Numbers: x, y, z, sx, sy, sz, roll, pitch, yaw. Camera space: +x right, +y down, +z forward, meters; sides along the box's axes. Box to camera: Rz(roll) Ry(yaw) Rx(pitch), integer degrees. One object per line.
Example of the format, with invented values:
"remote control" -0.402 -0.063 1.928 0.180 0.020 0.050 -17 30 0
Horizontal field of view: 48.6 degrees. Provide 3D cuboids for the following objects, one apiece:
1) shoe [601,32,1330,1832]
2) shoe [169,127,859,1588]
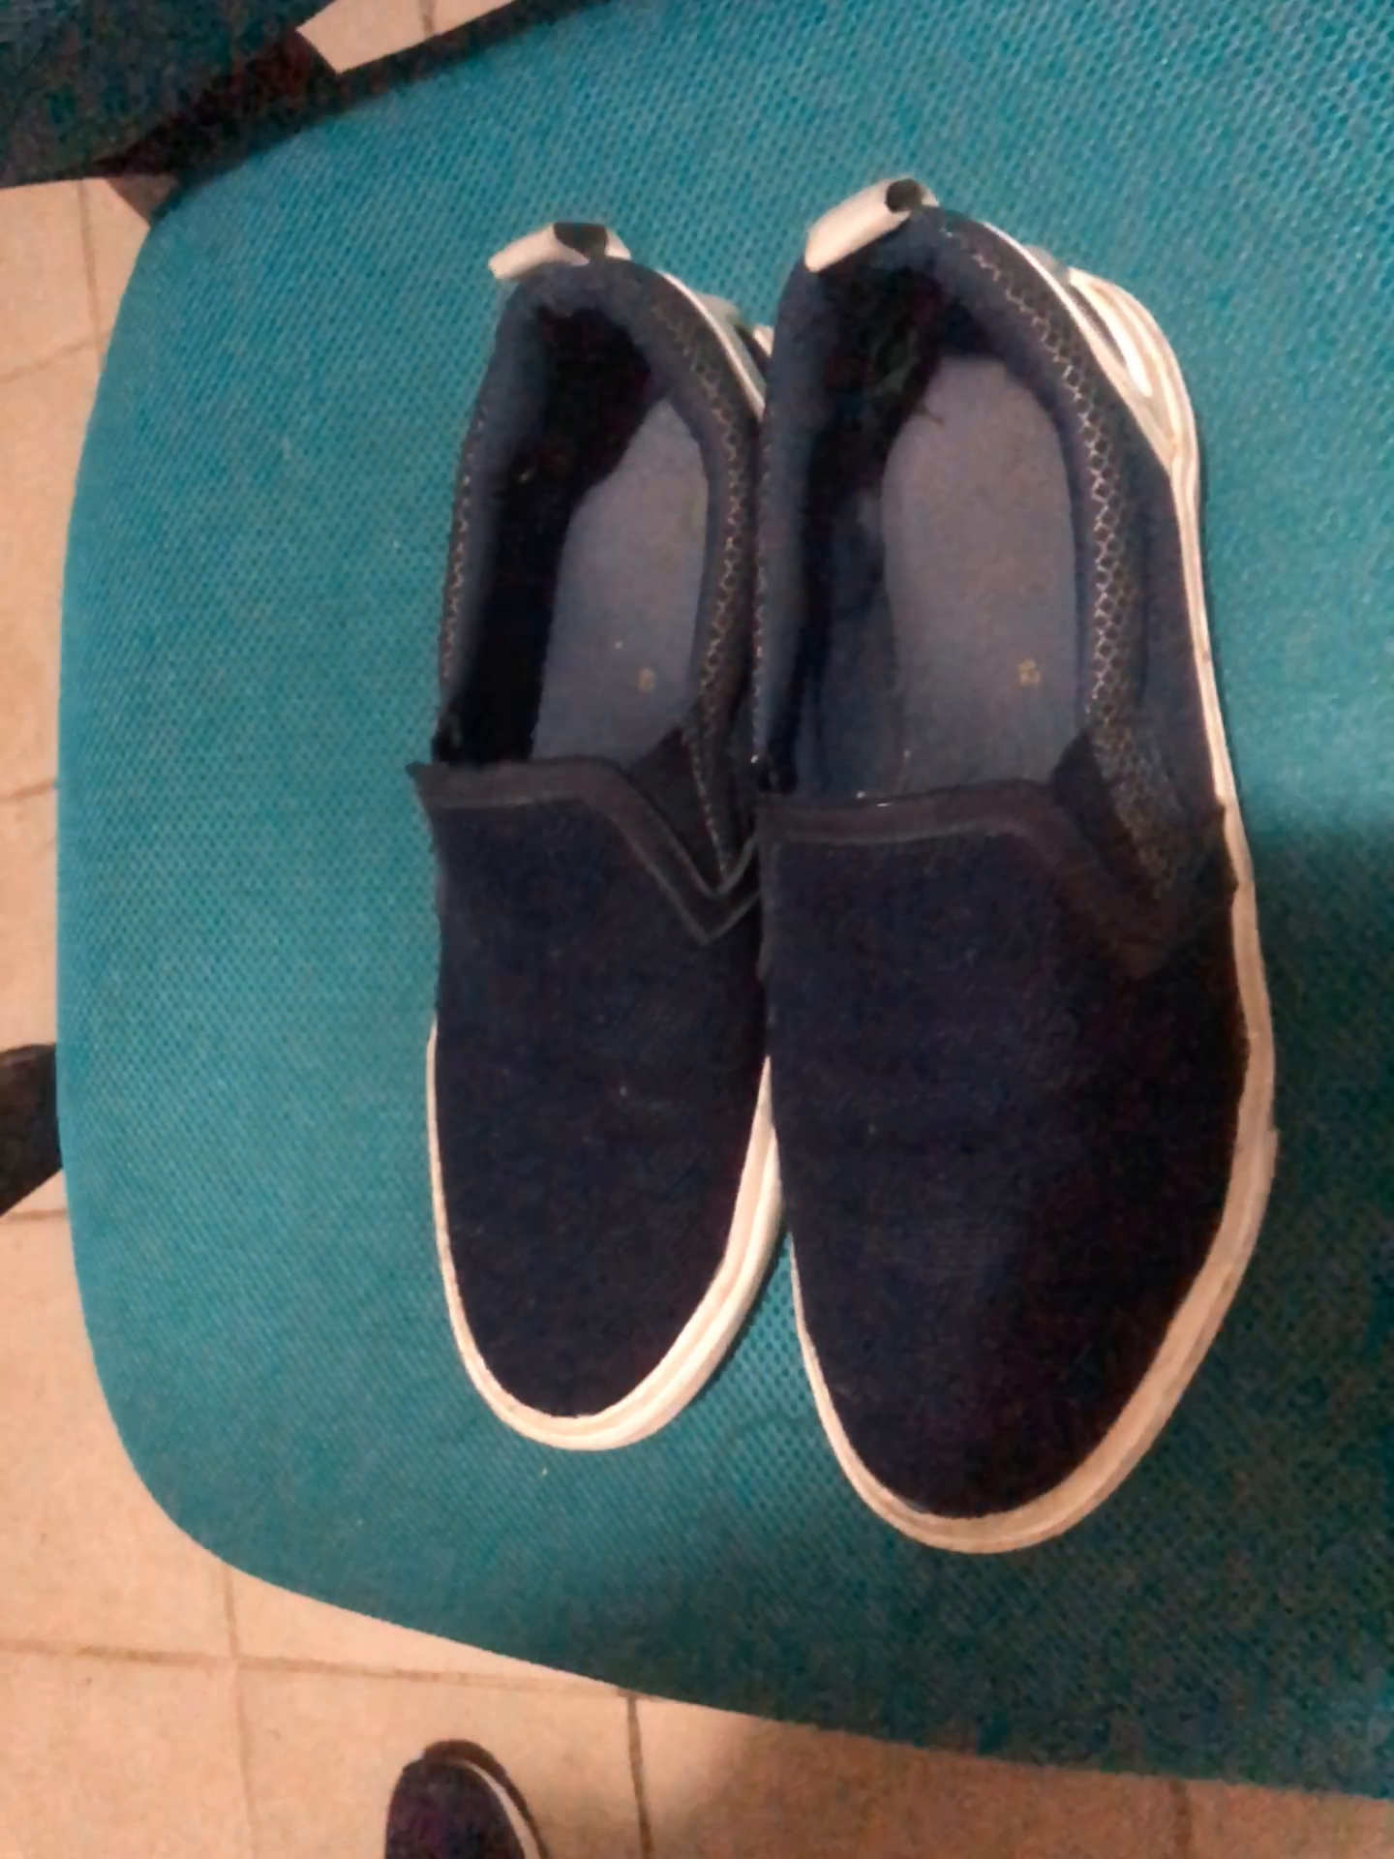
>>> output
"shoe" 0.061 0.000 0.325 0.120 0.110 0.290 -2 88 26
"shoe" -0.040 -0.015 0.382 0.120 0.110 0.290 2 90 26
